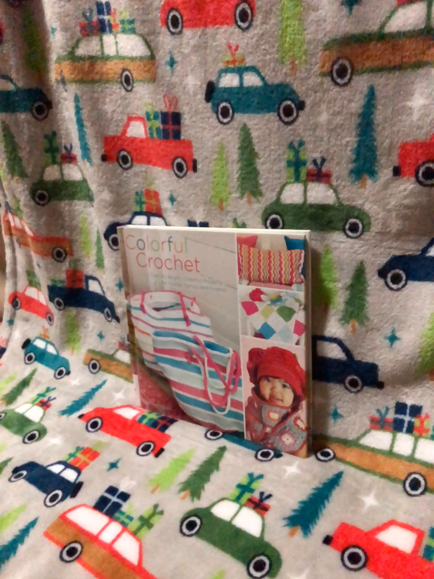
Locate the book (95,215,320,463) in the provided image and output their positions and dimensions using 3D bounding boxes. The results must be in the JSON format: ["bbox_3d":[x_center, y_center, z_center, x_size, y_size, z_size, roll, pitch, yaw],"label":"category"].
[{"bbox_3d":[-0.010,0.041,0.447,0.203,0.214,0.020,7,26,31],"label":"book"}]
